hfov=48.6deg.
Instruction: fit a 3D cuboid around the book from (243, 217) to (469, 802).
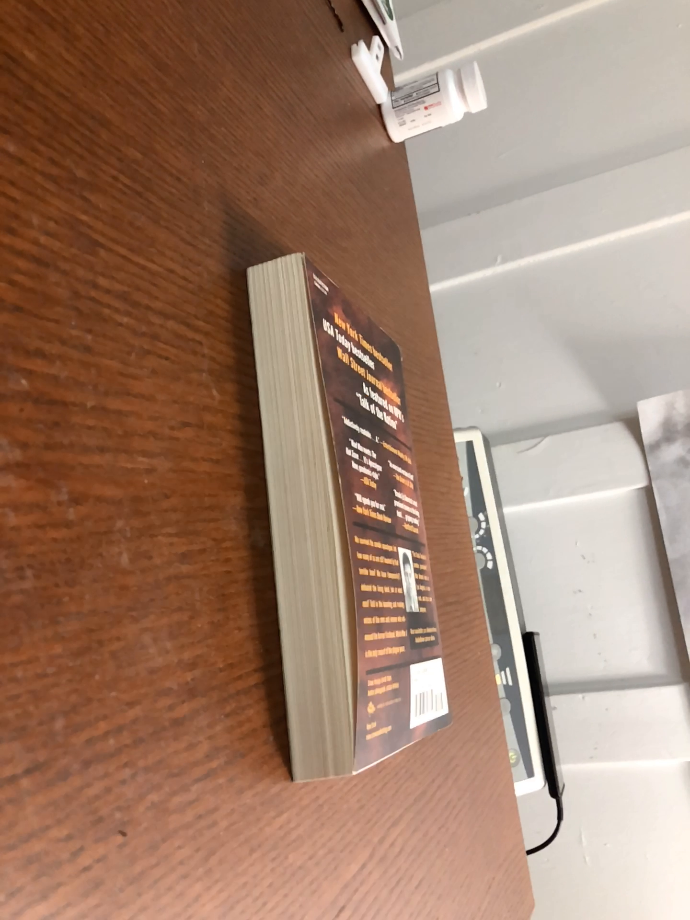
[{"bbox_3d":[0.009,0.023,0.351,0.141,0.030,0.220,27,54,-64],"label":"book"}]
